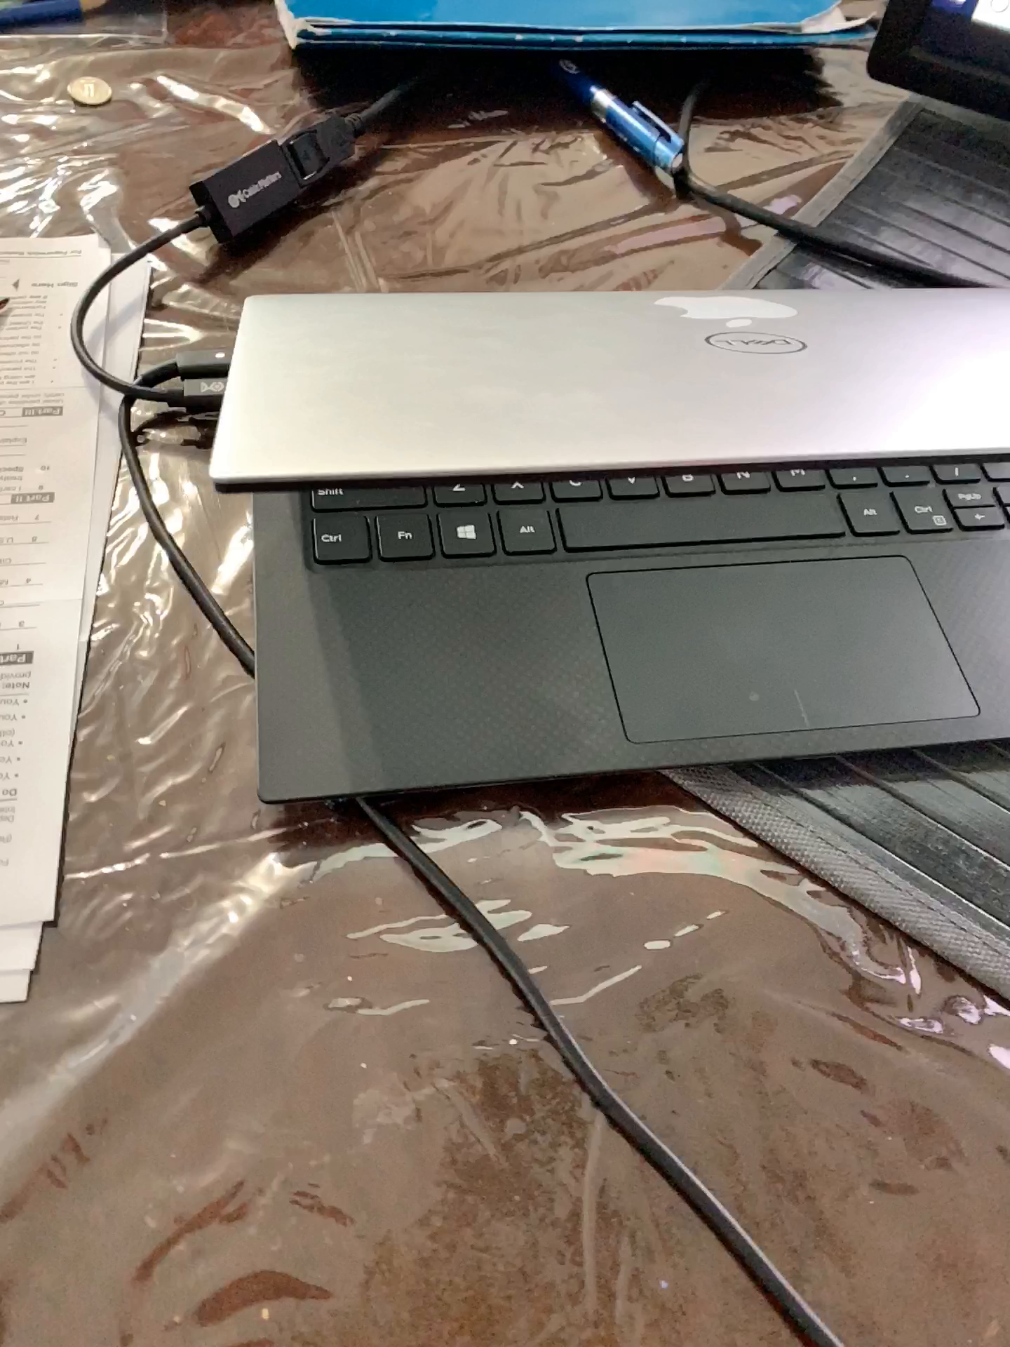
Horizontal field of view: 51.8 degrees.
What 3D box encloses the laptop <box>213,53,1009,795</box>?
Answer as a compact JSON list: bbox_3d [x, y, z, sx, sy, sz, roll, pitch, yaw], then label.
[{"bbox_3d":[0.074,-0.079,0.292,0.290,0.085,0.185,-3,55,-9],"label":"laptop"}]
